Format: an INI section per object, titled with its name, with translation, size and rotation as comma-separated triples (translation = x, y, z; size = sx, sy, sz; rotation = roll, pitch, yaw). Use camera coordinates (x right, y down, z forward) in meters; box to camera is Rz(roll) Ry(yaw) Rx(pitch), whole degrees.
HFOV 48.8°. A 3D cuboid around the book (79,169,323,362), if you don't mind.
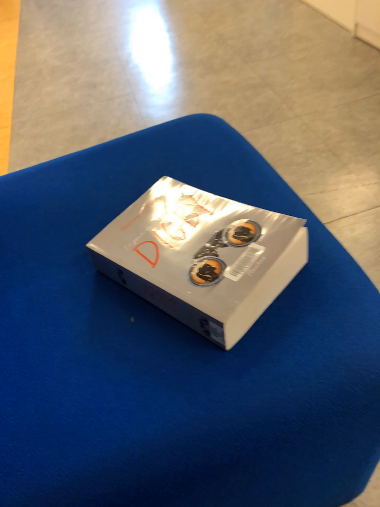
[book]
translation = 0.008, -0.005, 0.454
size = 0.211, 0.056, 0.152
rotation = 25, 57, 37
